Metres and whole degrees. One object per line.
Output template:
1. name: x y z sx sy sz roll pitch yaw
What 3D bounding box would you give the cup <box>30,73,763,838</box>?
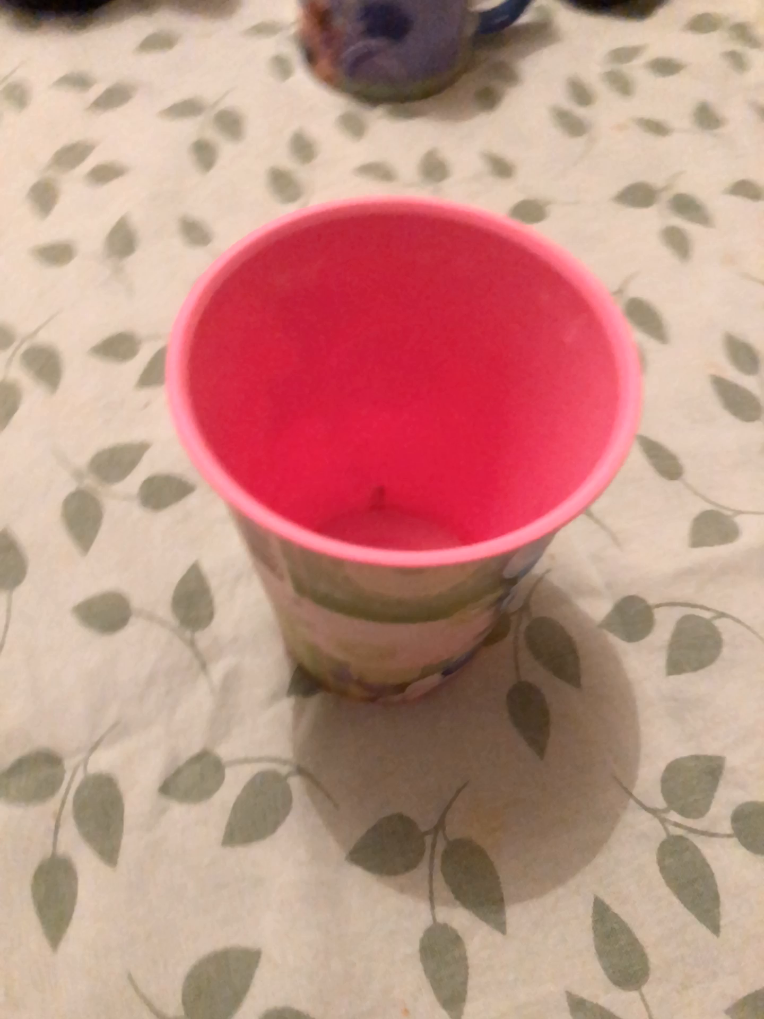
1. cup: 0.006 -0.006 0.206 0.100 0.119 0.100 1 59 -2
